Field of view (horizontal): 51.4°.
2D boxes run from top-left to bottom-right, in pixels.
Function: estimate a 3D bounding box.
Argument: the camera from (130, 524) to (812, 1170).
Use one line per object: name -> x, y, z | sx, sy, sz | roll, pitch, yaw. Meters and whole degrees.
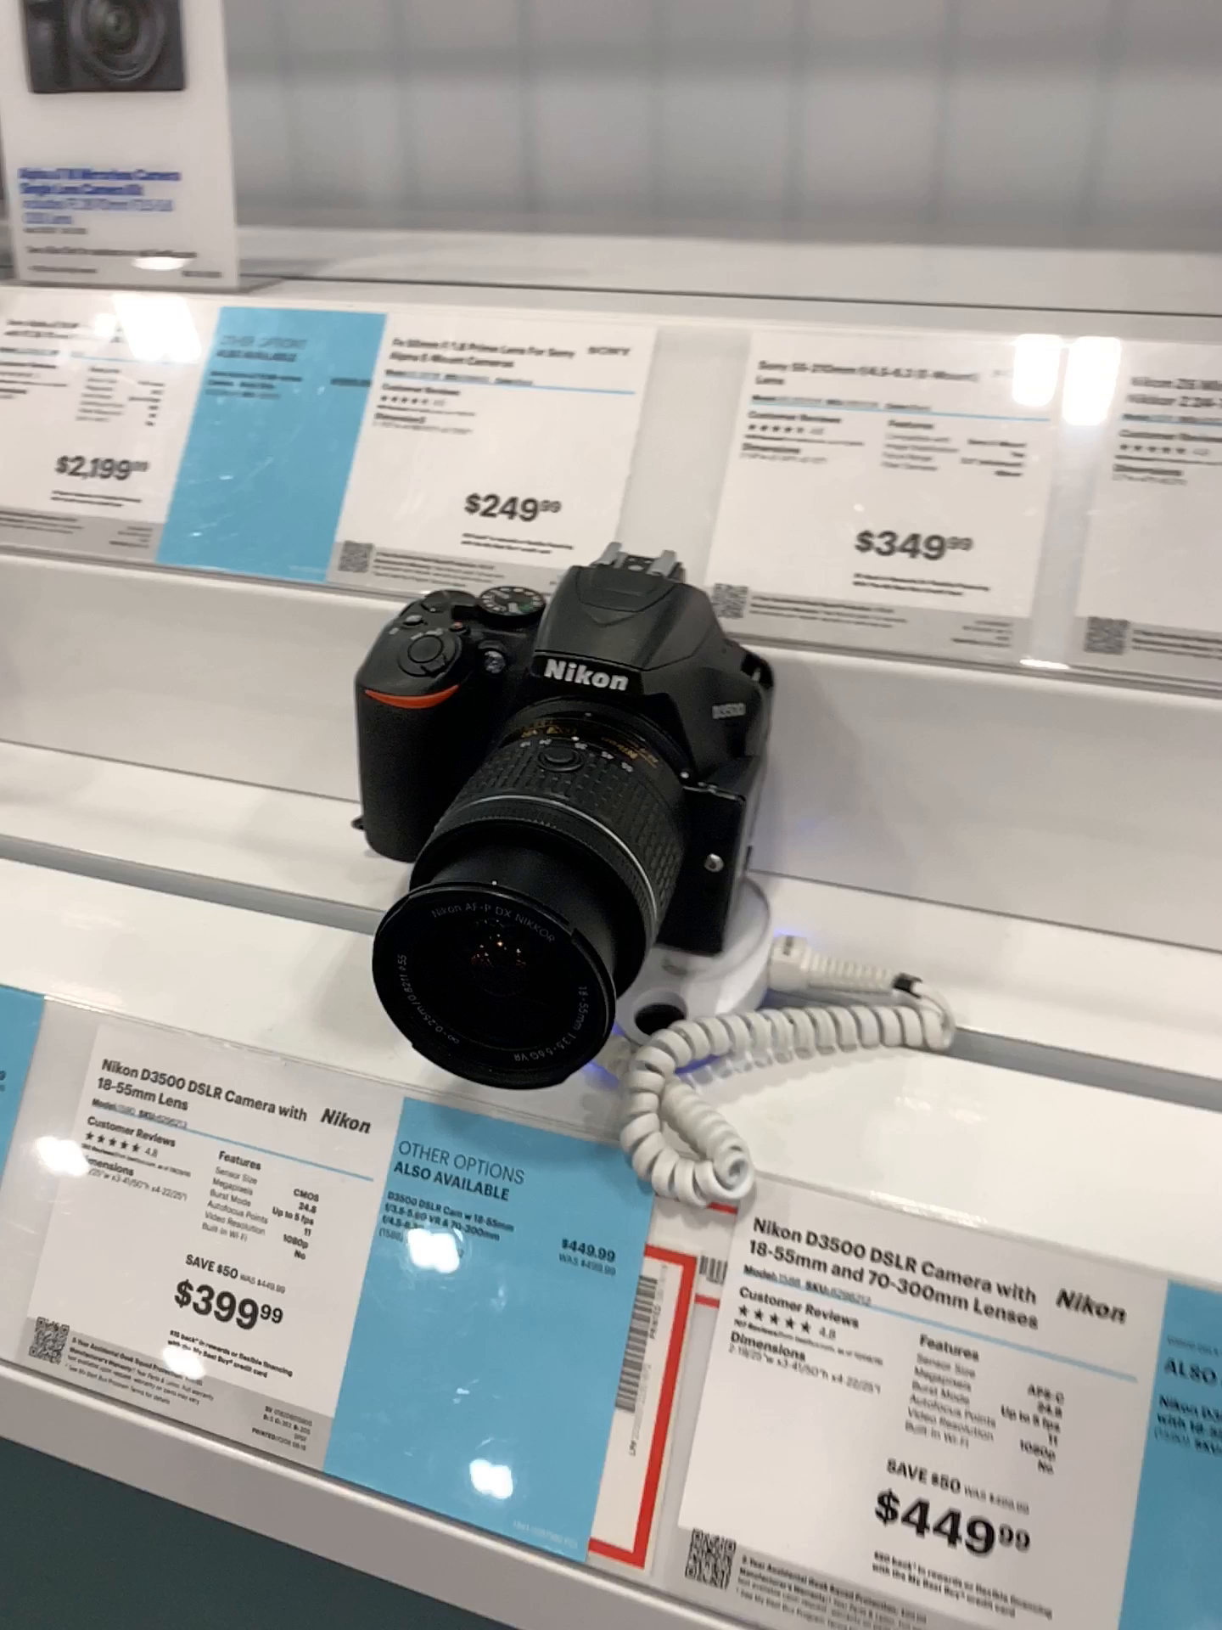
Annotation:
camera -> -0.022, -0.005, 0.350 | 0.130, 0.099, 0.151 | 7, 31, 13
